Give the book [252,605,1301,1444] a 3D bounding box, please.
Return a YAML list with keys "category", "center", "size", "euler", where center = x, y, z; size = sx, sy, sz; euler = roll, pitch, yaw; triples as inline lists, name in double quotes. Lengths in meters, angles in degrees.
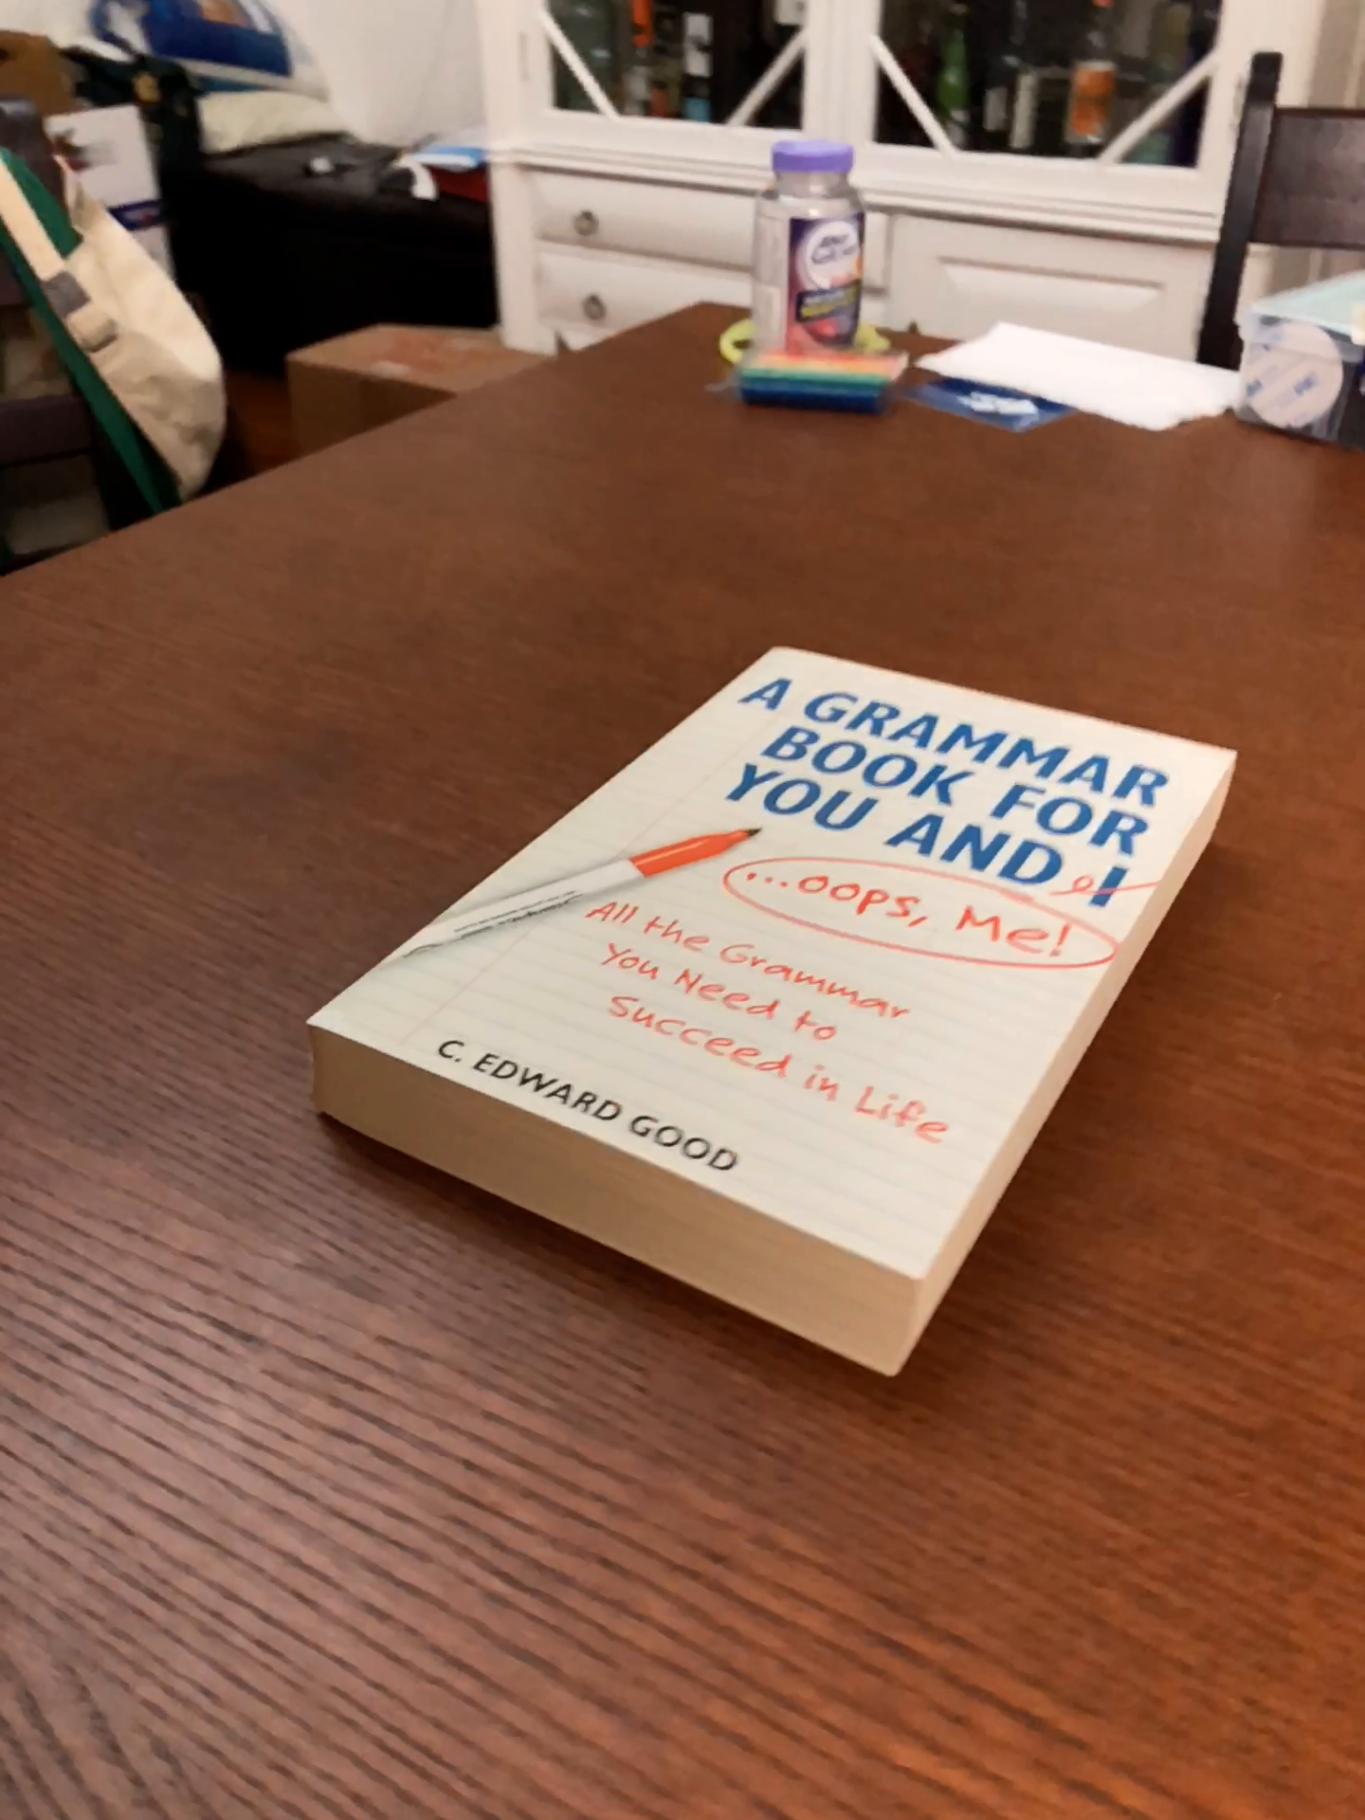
- category: "book"
  center: [0.040, -0.001, 0.392]
  size: [0.170, 0.040, 0.241]
  euler: [19, 39, 26]
